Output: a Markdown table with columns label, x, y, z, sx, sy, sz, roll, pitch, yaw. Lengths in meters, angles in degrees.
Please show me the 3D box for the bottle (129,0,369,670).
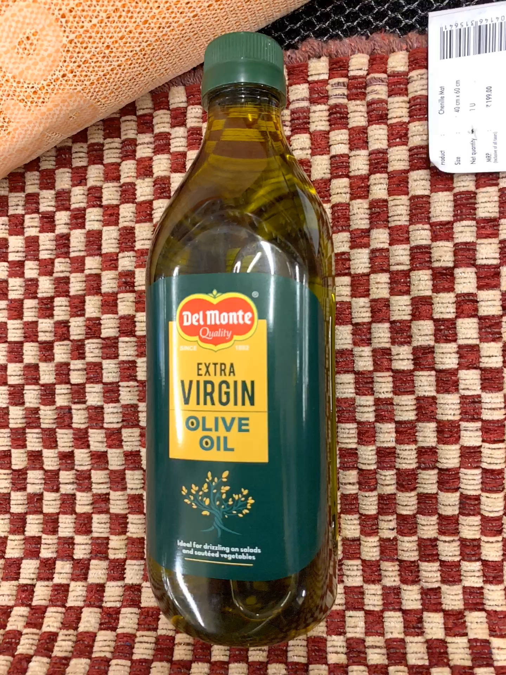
| label | x | y | z | sx | sy | sz | roll | pitch | yaw |
| --- | --- | --- | --- | --- | --- | --- | --- | --- | --- |
| bottle | 0.001 | -0.009 | 0.226 | 0.080 | 0.080 | 0.250 | 1 | 90 | 4 |
